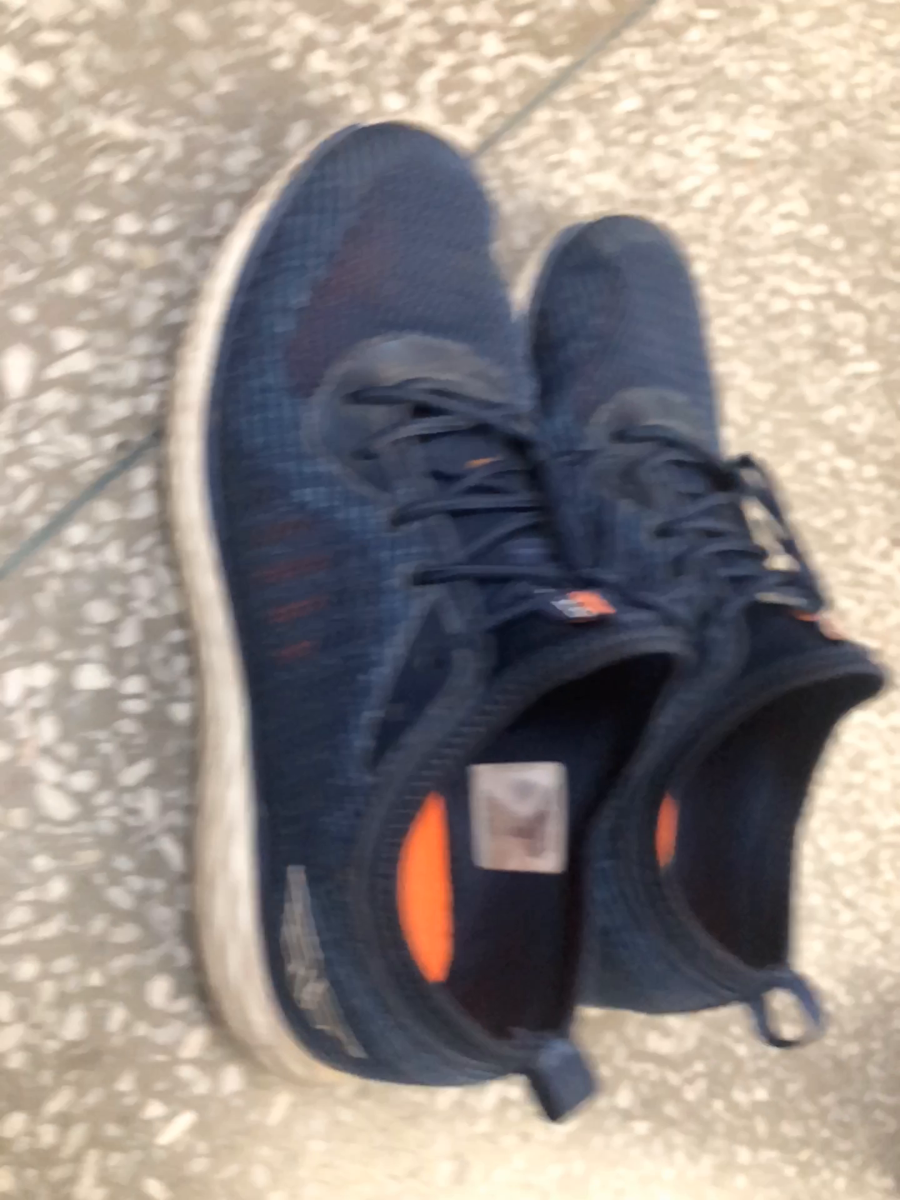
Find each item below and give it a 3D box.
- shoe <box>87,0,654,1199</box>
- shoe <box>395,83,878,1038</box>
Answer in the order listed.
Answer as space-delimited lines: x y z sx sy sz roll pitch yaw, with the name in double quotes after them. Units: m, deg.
-0.023 -0.006 0.273 0.114 0.099 0.249 2 87 -38 "shoe"
0.064 -0.008 0.341 0.124 0.099 0.249 4 86 -38 "shoe"
